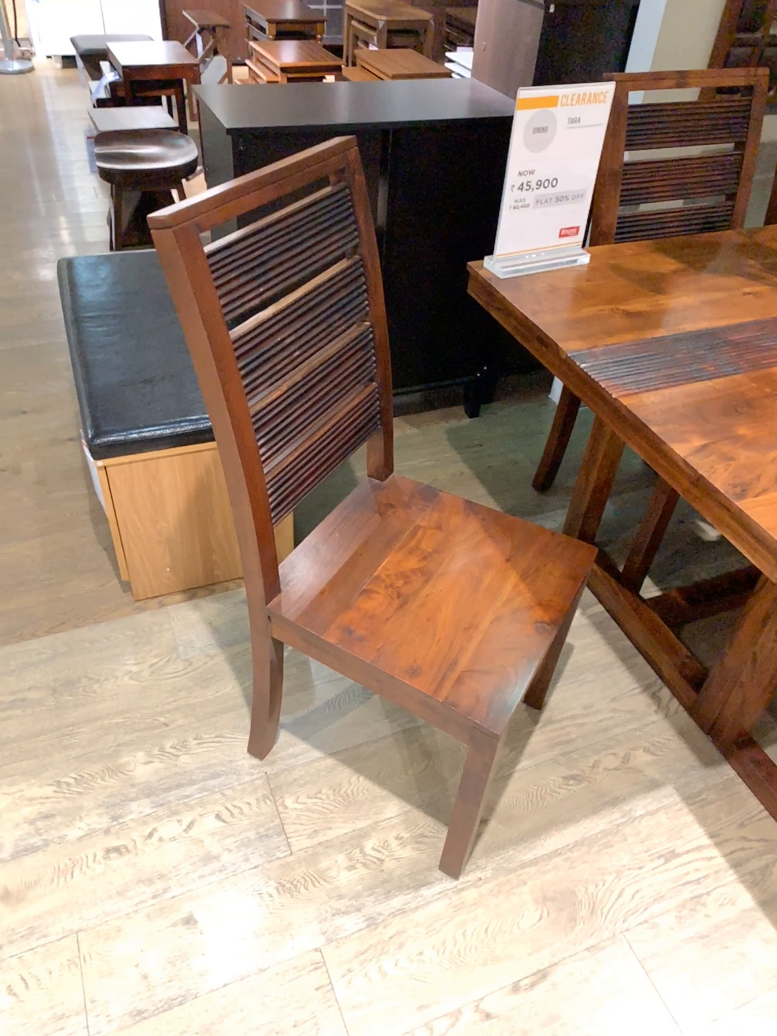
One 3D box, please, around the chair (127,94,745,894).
[{"bbox_3d":[0.060,-0.006,1.213,0.530,0.996,0.522,21,43,18],"label":"chair"}]
